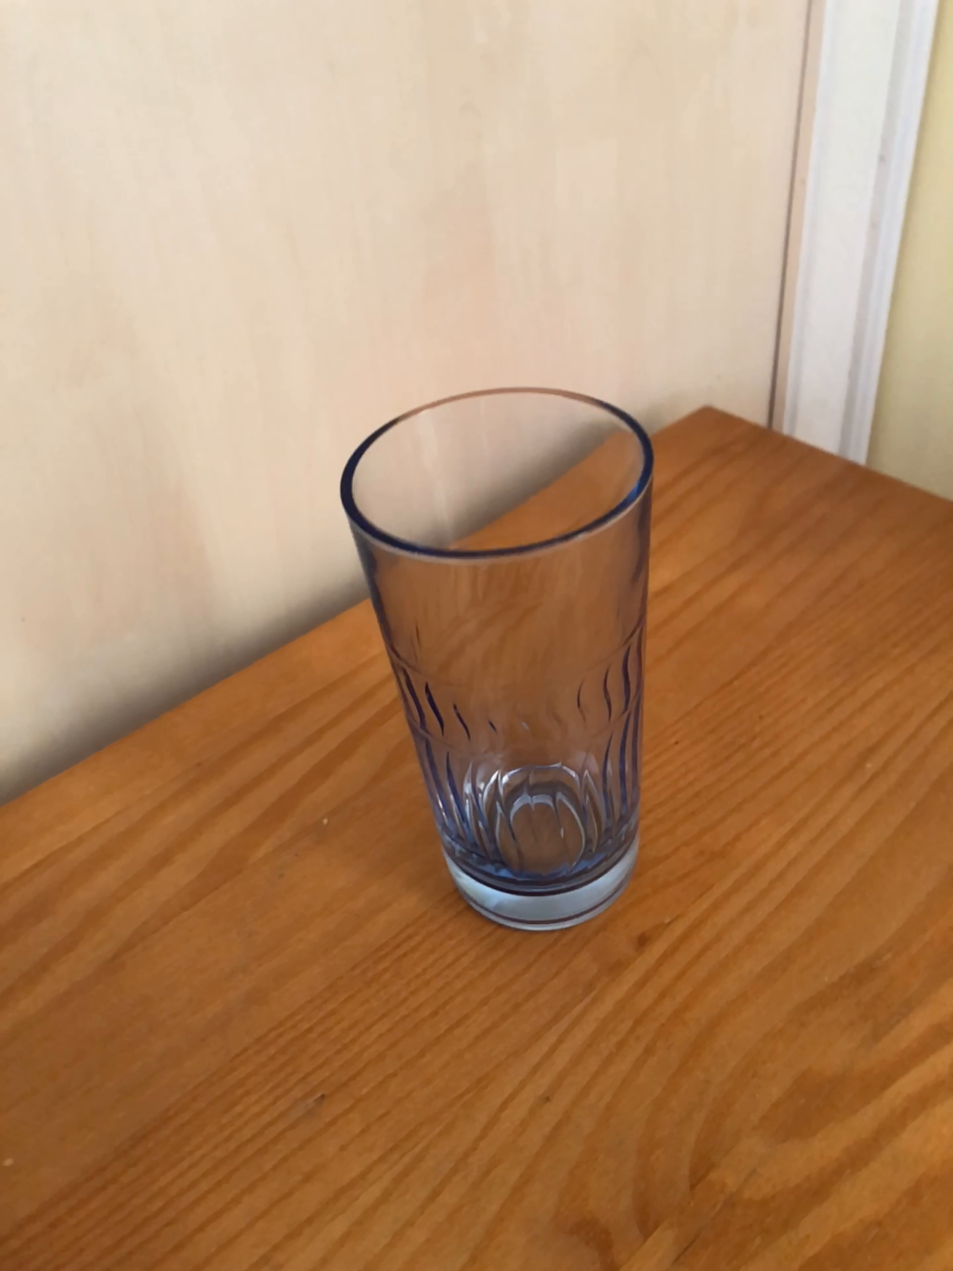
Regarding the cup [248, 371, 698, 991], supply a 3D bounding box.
[{"bbox_3d":[0.008,0.012,0.265,0.075,0.129,0.071,-4,39,3],"label":"cup"}]
